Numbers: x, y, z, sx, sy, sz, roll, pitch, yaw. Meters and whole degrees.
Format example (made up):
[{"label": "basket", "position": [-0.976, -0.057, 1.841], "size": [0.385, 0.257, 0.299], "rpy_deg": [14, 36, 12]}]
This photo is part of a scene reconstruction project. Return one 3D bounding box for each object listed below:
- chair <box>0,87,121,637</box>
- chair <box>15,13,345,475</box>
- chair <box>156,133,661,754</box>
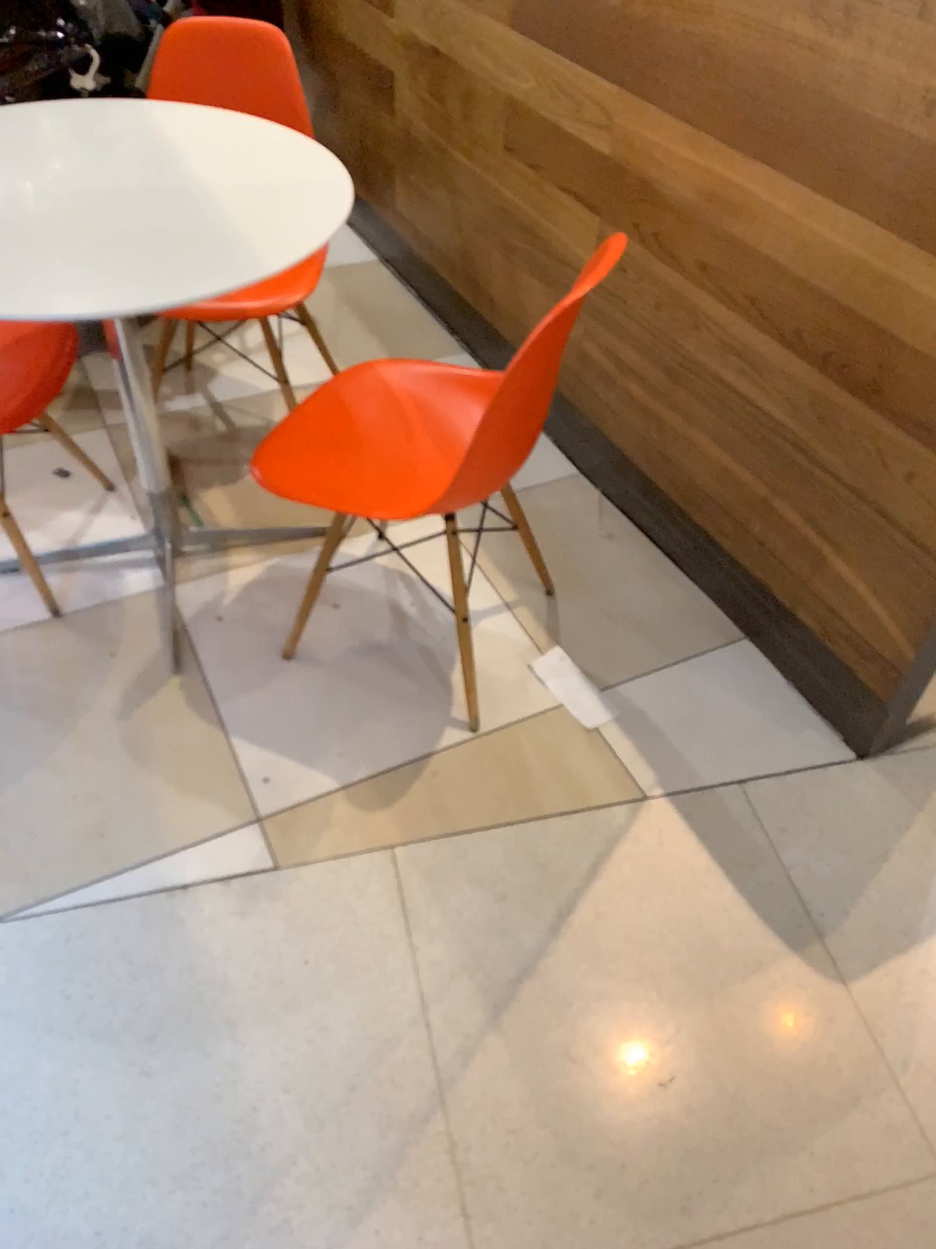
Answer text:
[{"label": "chair", "position": [-0.977, -0.407, 1.595], "size": [0.510, 0.762, 0.452], "rpy_deg": [0, 45, -4]}, {"label": "chair", "position": [-0.530, -0.785, 1.994], "size": [0.447, 0.742, 0.526], "rpy_deg": [2, 45, -1]}, {"label": "chair", "position": [-0.072, -0.274, 1.505], "size": [0.521, 0.742, 0.451], "rpy_deg": [19, 47, 15]}]
